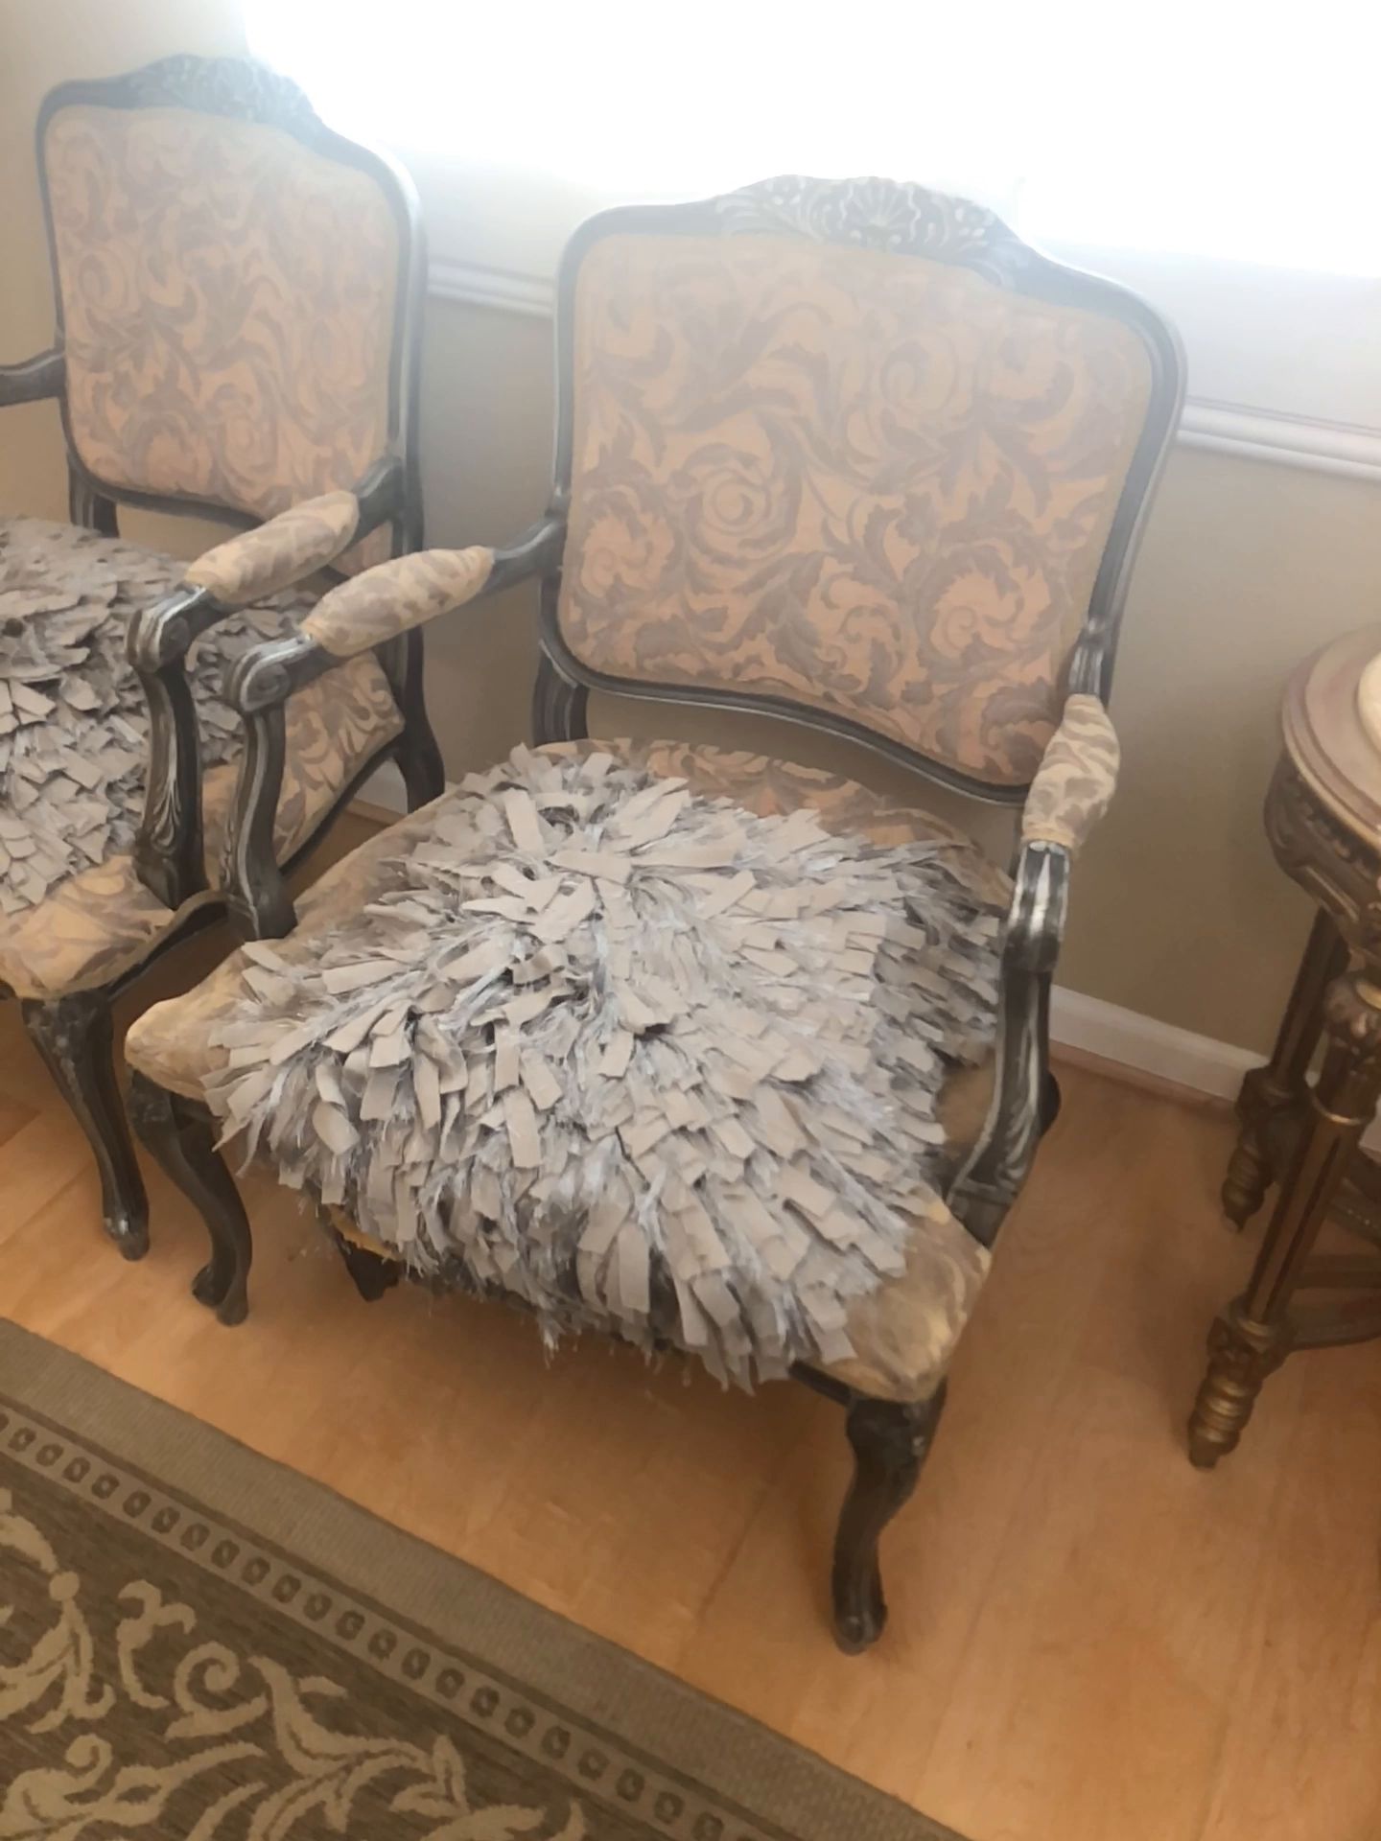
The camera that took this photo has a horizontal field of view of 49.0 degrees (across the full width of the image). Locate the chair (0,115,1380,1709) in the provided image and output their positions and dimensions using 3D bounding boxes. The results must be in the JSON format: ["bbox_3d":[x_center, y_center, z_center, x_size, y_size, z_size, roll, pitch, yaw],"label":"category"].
[{"bbox_3d":[0.031,-0.077,1.257,0.740,0.852,0.787,18,42,20],"label":"chair"}]

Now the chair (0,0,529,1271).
[{"bbox_3d":[-0.646,-0.314,1.514,0.691,0.951,0.605,24,44,26],"label":"chair"}]
